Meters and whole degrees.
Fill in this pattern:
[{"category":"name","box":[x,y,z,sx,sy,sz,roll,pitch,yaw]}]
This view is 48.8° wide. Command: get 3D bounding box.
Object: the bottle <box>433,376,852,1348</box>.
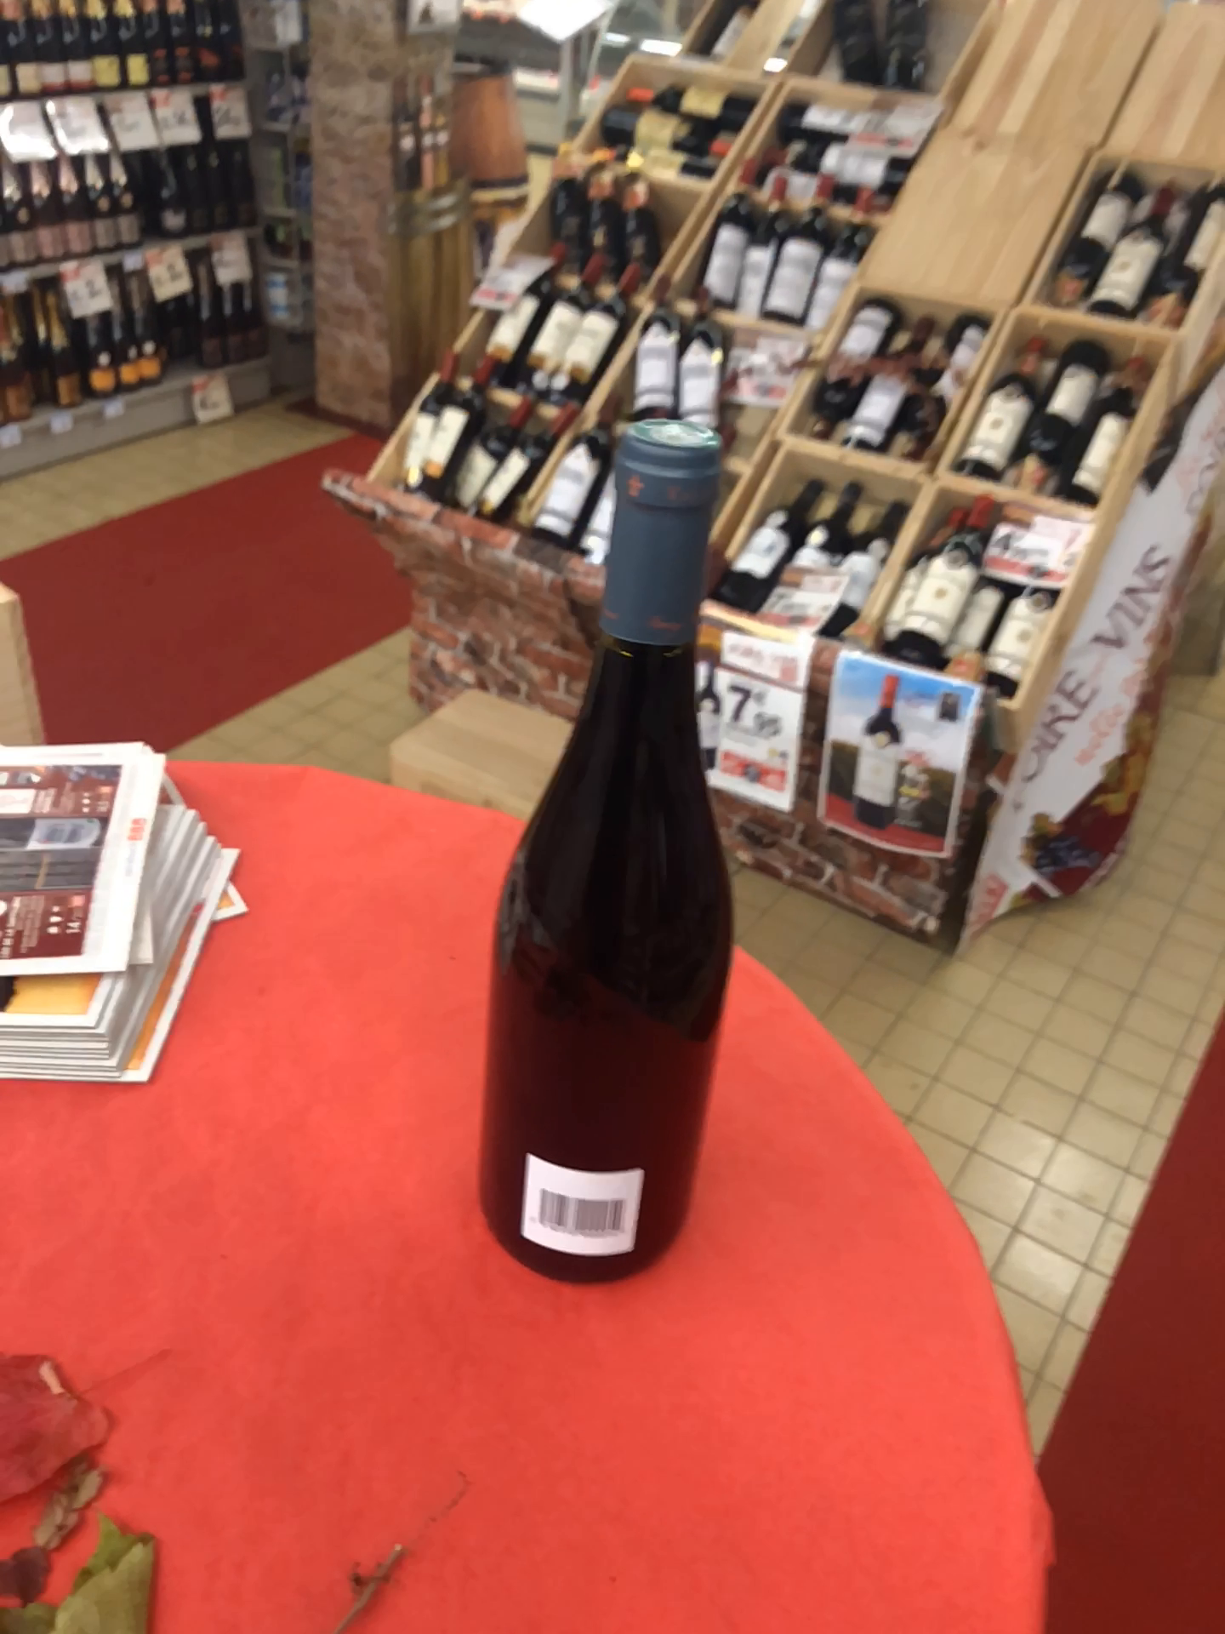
[{"category":"bottle","box":[0.003,0.027,0.418,0.090,0.288,0.091,3,34,-2]}]
